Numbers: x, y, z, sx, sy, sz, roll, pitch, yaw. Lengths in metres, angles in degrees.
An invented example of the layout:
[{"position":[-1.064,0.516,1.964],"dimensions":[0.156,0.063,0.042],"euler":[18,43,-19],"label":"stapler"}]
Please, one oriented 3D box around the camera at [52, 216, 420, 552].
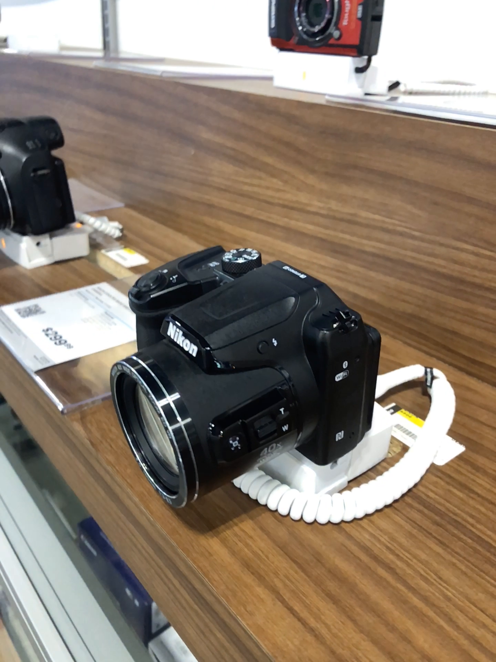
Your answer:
[{"position":[-0.009,0.008,0.249],"dimensions":[0.110,0.079,0.111],"euler":[-17,34,-35],"label":"camera"}]
